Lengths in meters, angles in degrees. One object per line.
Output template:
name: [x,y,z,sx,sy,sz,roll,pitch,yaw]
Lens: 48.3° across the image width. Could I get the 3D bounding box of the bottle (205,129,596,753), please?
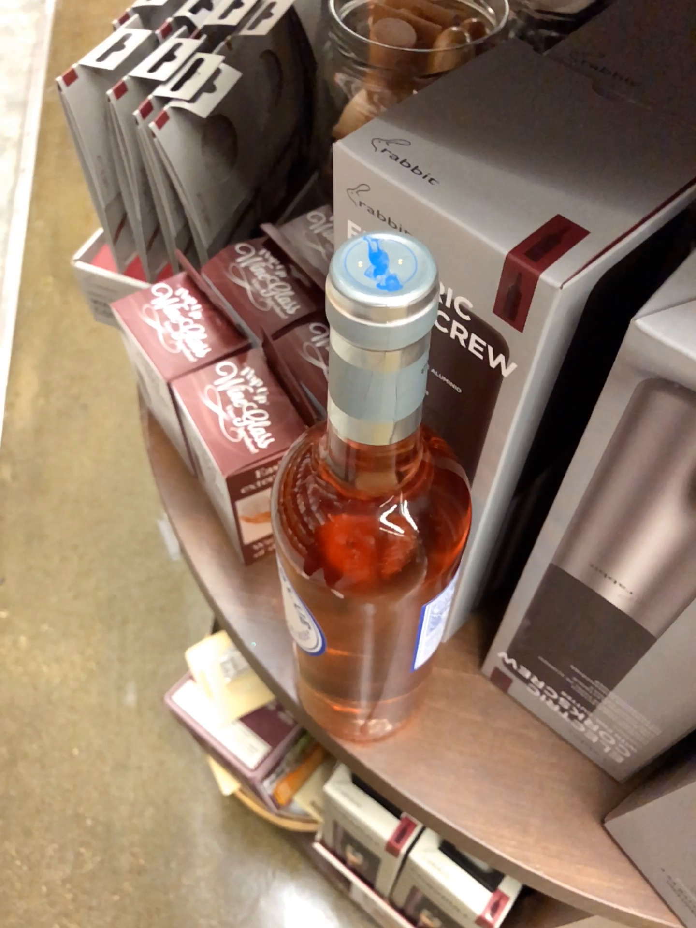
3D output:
bottle: [0.010,0.028,0.306,0.080,0.289,0.078,0,55,1]
